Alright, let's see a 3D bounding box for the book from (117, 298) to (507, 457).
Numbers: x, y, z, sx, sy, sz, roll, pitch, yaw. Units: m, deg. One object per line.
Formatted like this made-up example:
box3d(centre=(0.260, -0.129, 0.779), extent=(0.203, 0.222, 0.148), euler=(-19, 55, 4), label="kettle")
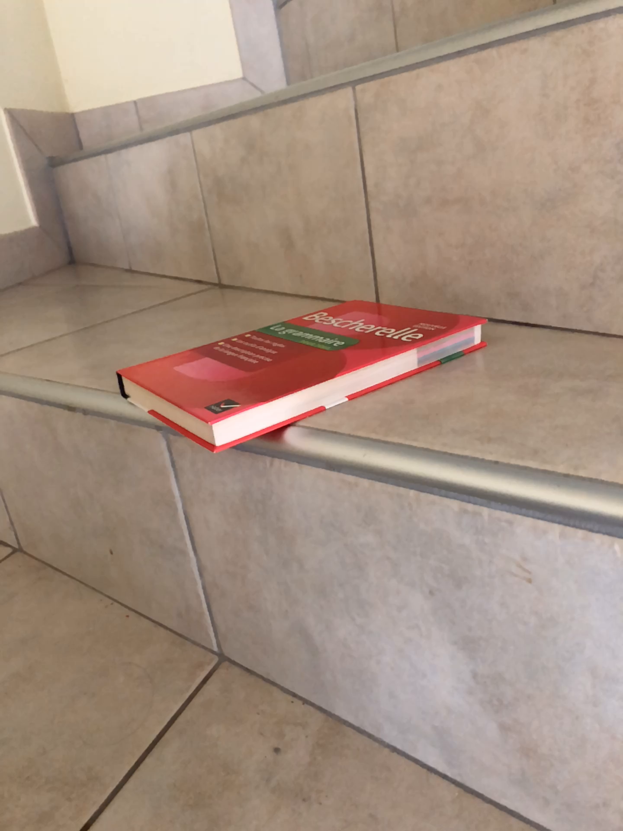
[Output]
box3d(centre=(-0.002, -0.036, 0.434), extent=(0.201, 0.020, 0.143), euler=(-21, 23, -28), label="book")
